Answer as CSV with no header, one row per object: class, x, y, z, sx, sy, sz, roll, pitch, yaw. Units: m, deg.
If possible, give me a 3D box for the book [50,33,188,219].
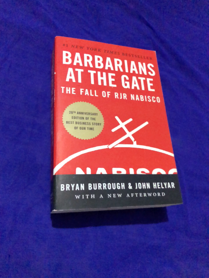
book,0.008,-0.018,0.289,0.140,0.050,0.210,3,68,-18
